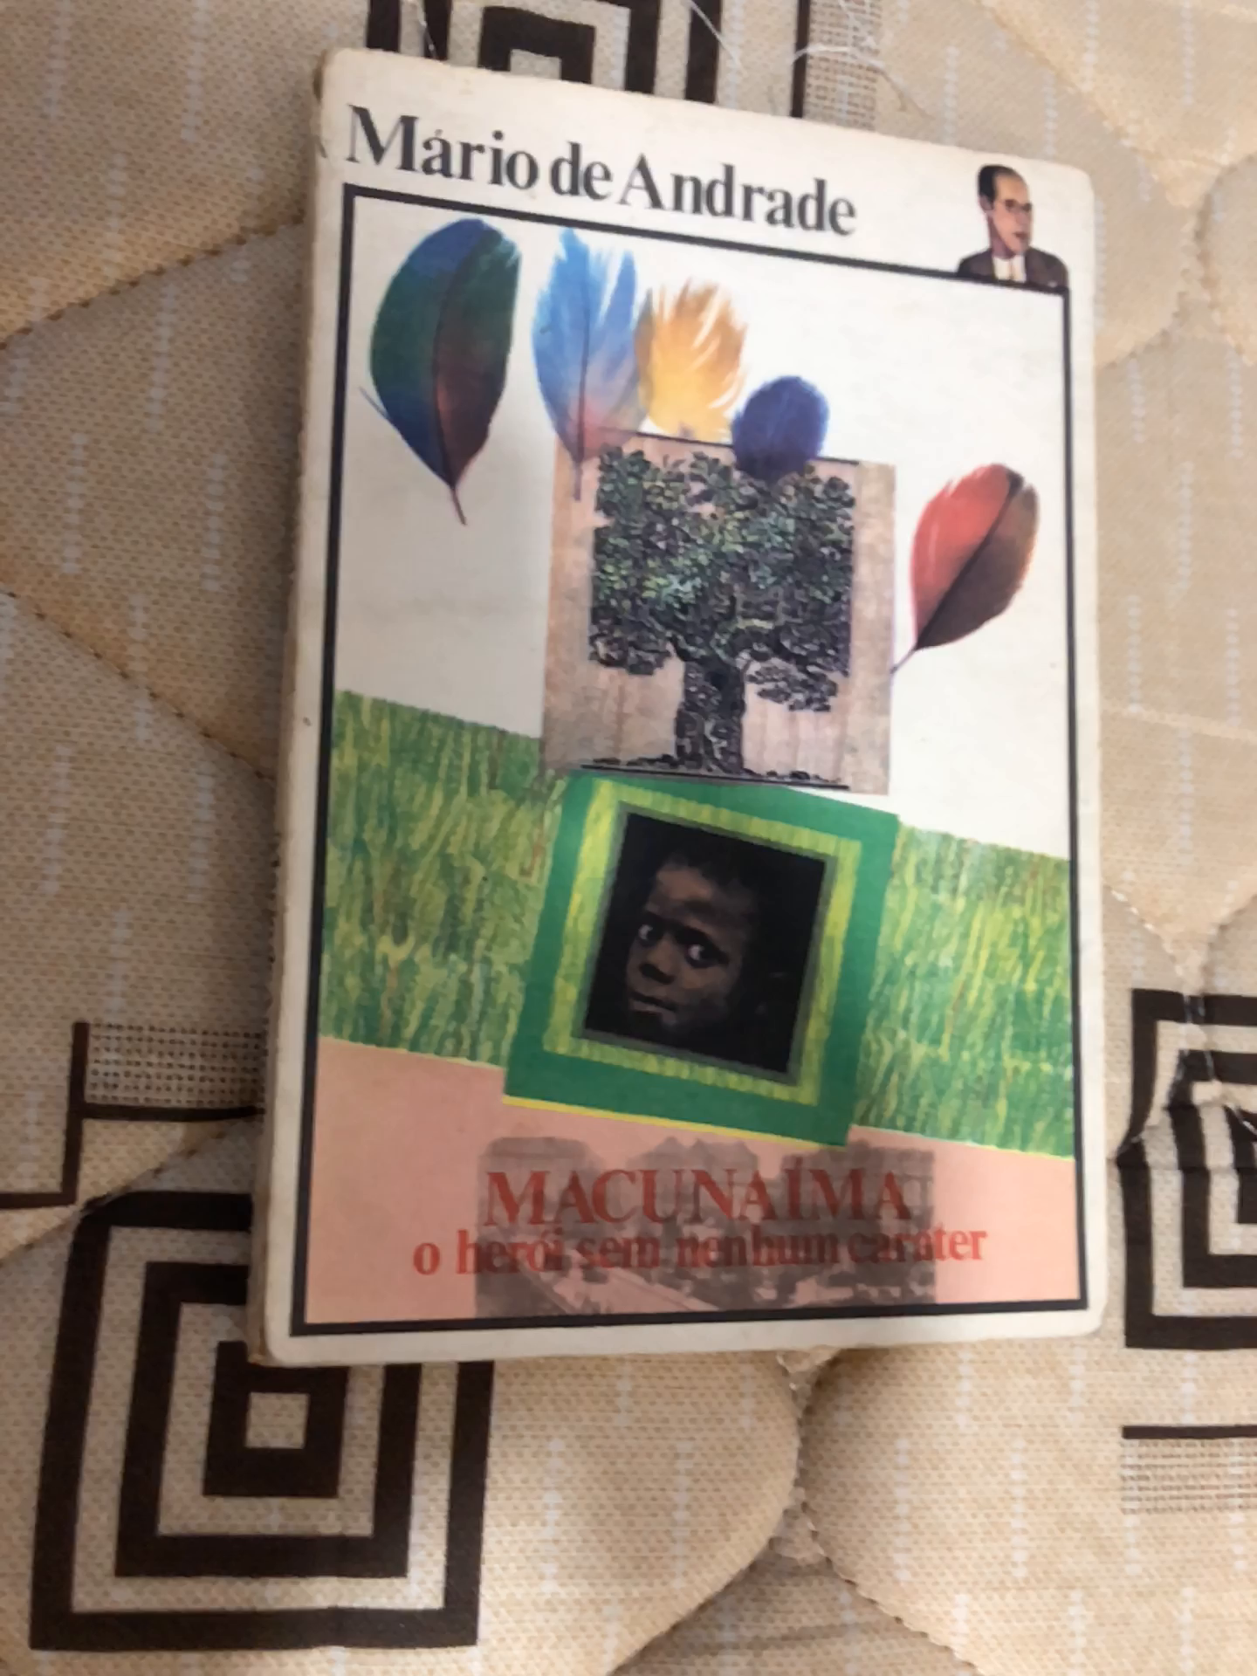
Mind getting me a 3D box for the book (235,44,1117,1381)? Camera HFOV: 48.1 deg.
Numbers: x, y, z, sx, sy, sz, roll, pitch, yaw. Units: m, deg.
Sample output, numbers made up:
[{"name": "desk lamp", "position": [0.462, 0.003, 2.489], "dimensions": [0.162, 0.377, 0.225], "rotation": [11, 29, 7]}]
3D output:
[{"name": "book", "position": [0.011, -0.019, 0.221], "dimensions": [0.130, 0.020, 0.190], "rotation": [2, 83, -13]}]
